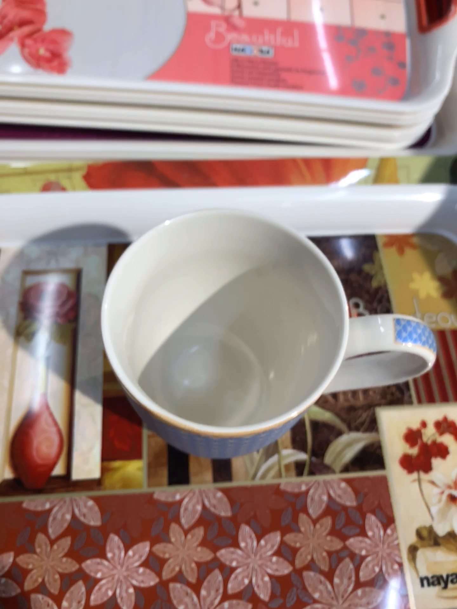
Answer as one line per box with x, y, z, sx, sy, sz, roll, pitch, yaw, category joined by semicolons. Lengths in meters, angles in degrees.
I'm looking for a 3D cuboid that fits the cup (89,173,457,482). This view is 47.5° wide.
0.015;0.014;0.205;0.120;0.100;0.080;-3;62;-7;cup
